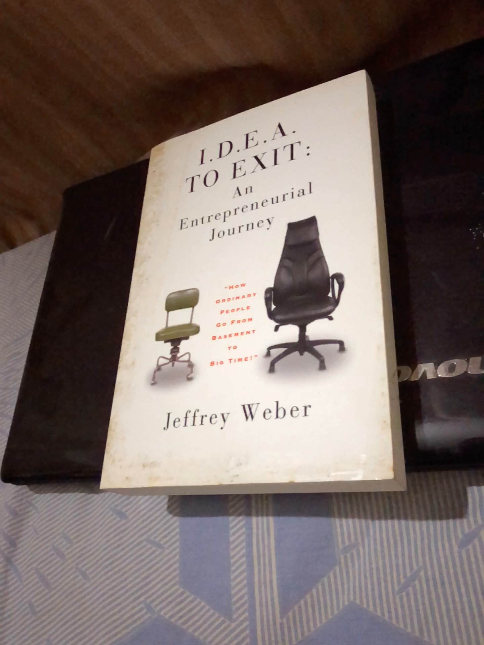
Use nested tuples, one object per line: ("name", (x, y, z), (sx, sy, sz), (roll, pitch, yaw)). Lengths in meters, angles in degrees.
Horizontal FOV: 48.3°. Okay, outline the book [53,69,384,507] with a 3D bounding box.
("book", (-0.011, -0.024, 0.308), (0.160, 0.030, 0.240), (-11, 58, 25))
